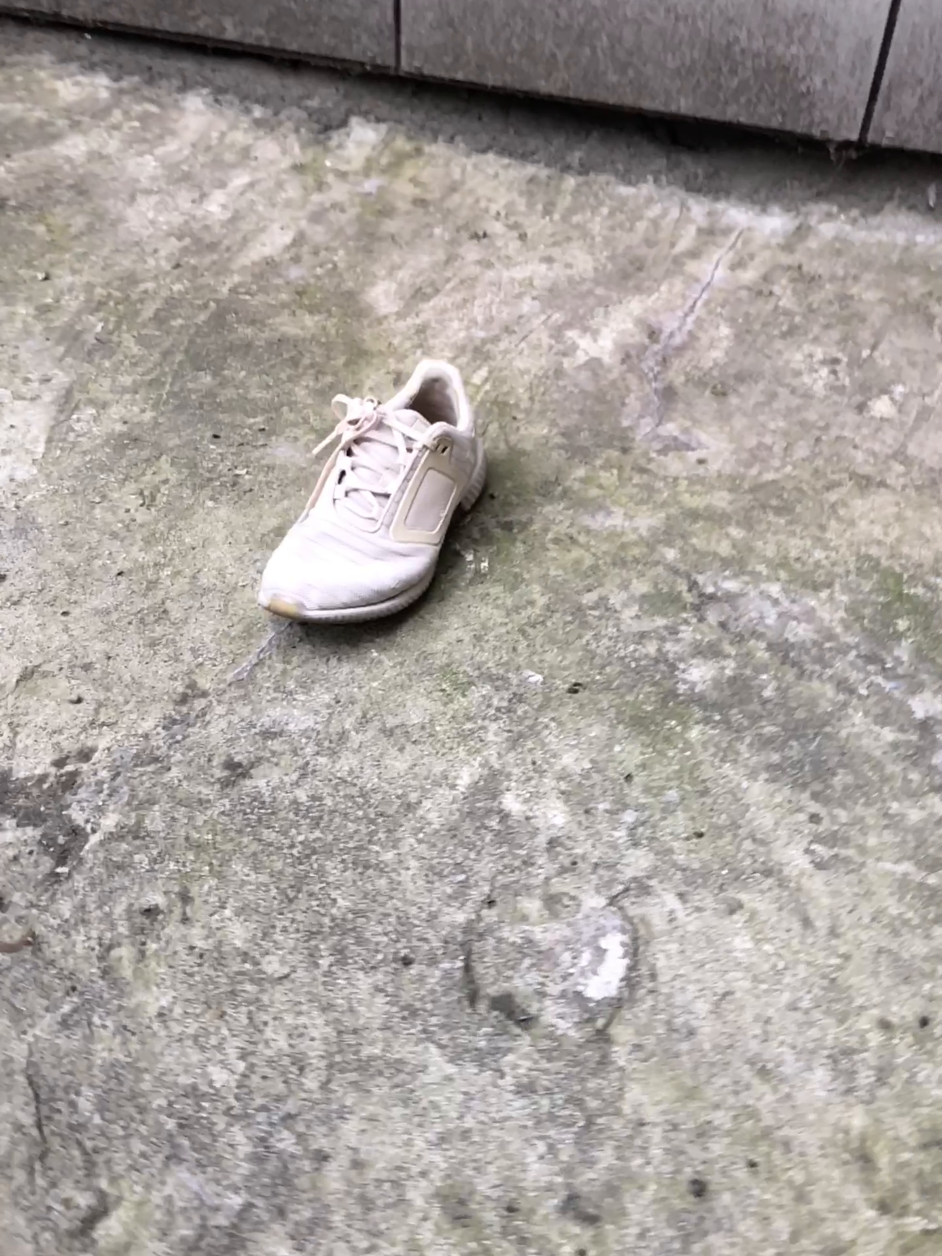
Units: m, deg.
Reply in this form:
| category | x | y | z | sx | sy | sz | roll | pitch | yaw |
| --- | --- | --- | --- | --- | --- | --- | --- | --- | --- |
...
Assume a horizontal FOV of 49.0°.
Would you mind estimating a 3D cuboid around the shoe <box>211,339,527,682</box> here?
| category | x | y | z | sx | sy | sz | roll | pitch | yaw |
| --- | --- | --- | --- | --- | --- | --- | --- | --- | --- |
| shoe | -0.066 | -0.109 | 0.829 | 0.120 | 0.109 | 0.302 | 15 | 42 | 16 |
